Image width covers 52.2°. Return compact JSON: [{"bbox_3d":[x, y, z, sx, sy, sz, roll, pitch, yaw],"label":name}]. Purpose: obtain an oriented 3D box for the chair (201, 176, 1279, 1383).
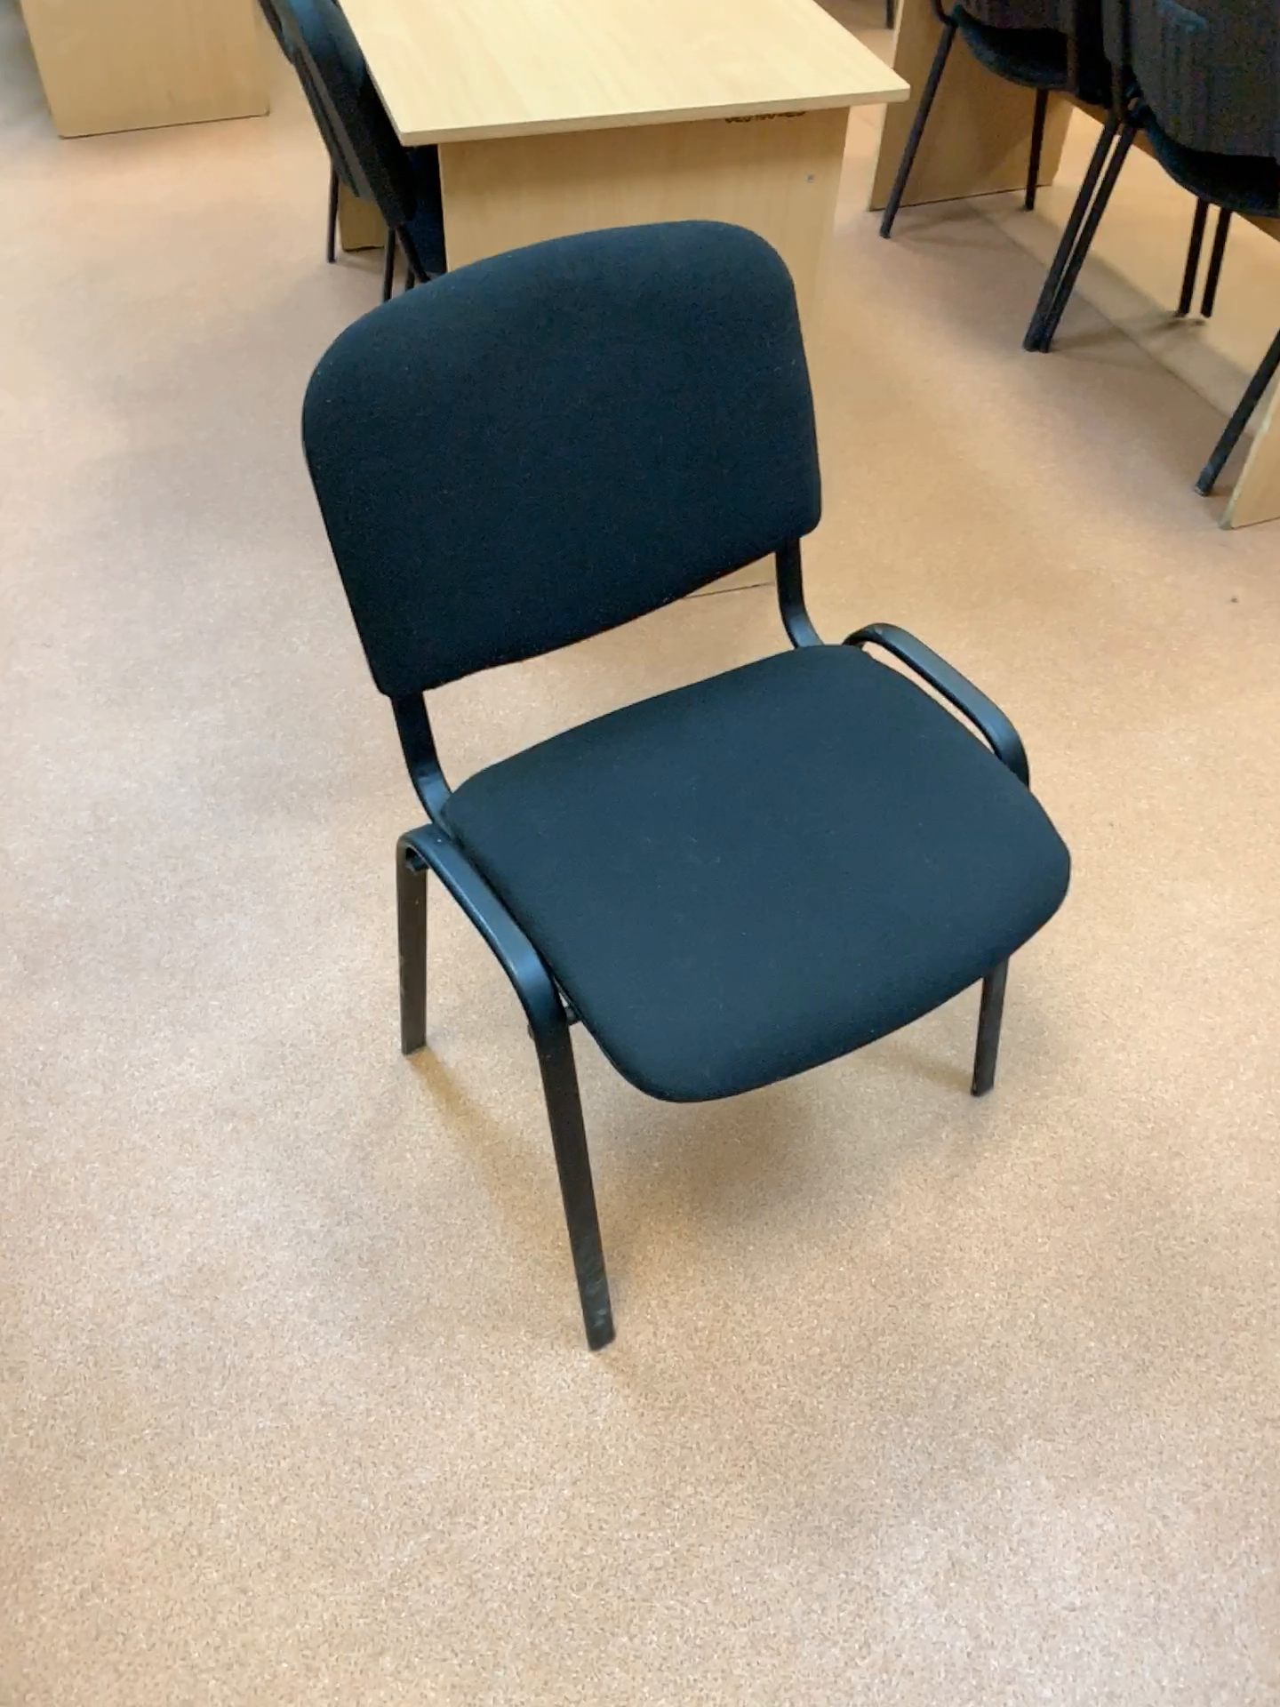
[{"bbox_3d":[0.060,-0.055,1.216,0.575,0.784,0.593,-25,55,-22],"label":"chair"}]
